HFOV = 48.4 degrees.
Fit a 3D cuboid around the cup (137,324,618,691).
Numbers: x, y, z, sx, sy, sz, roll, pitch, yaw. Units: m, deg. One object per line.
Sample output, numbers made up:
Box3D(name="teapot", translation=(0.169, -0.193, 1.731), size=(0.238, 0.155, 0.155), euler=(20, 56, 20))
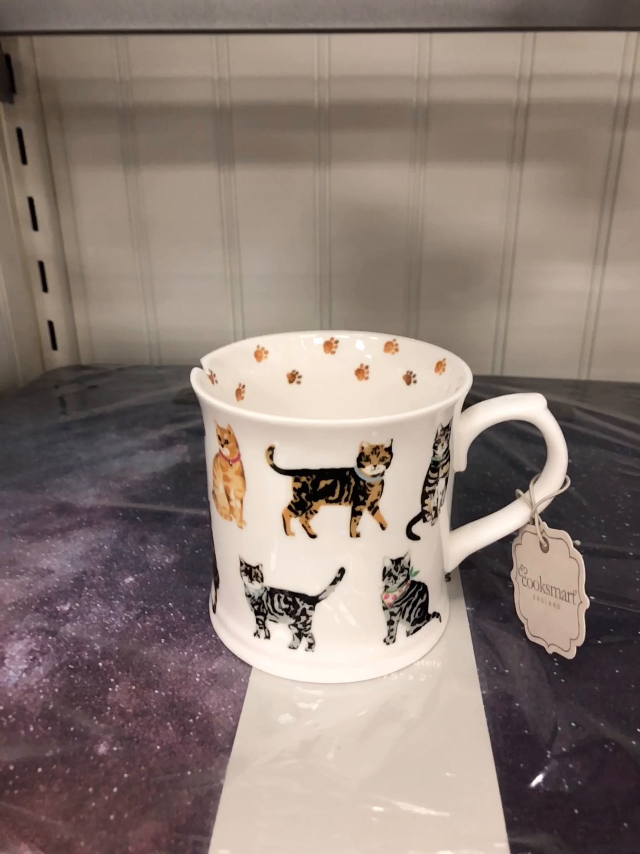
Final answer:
Box3D(name="cup", translation=(0.017, 0.023, 0.267), size=(0.137, 0.099, 0.096), euler=(0, 24, 2))
